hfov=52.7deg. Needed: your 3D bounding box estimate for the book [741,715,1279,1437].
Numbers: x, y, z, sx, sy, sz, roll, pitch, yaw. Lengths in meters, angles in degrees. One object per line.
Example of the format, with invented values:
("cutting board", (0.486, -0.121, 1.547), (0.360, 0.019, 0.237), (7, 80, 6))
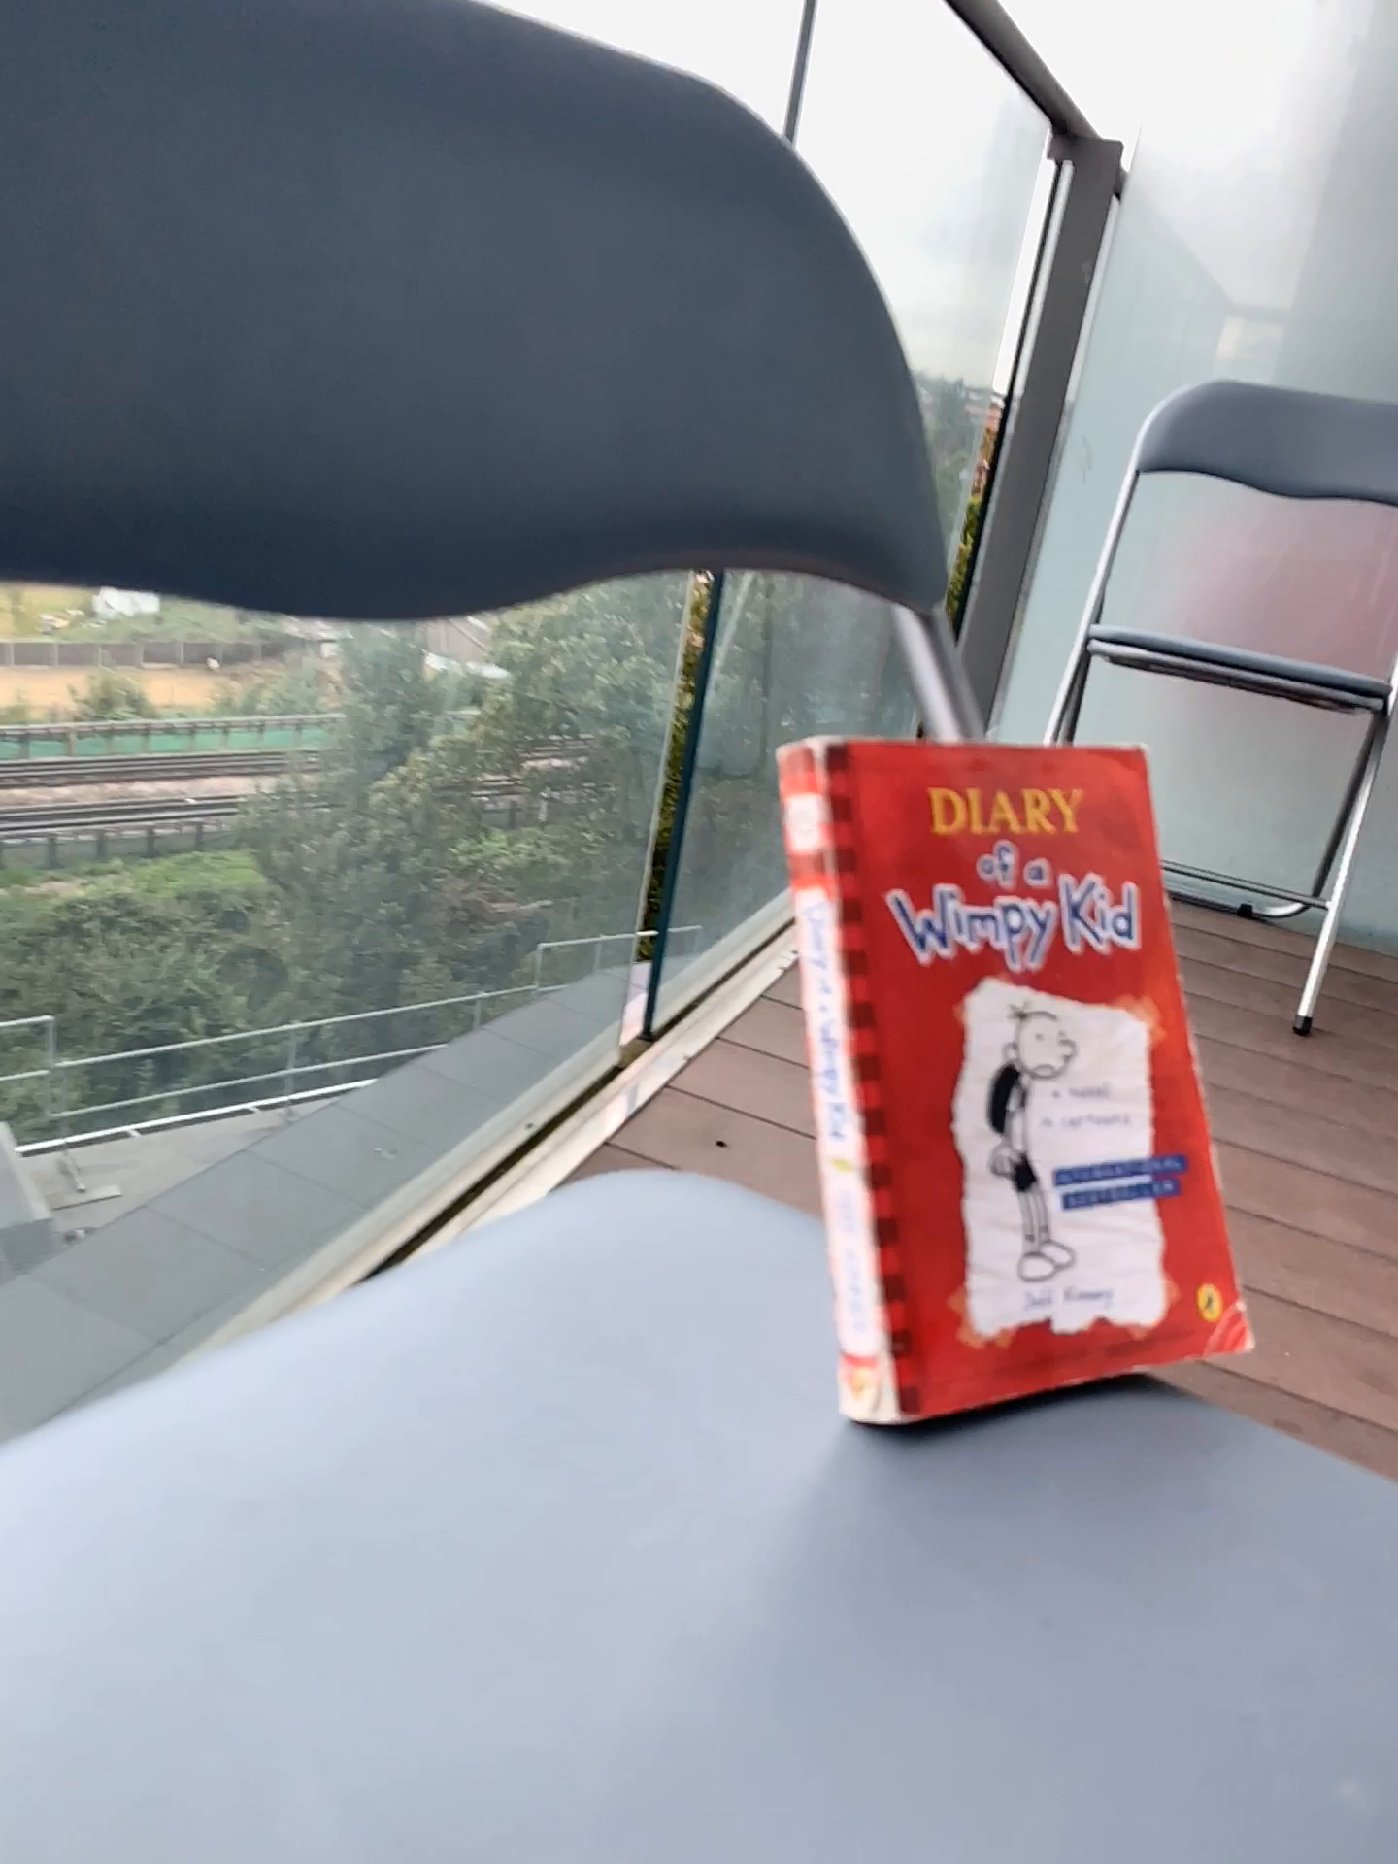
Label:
("book", (0.098, 0.037, 0.443), (0.150, 0.201, 0.040), (-2, -9, -26))
